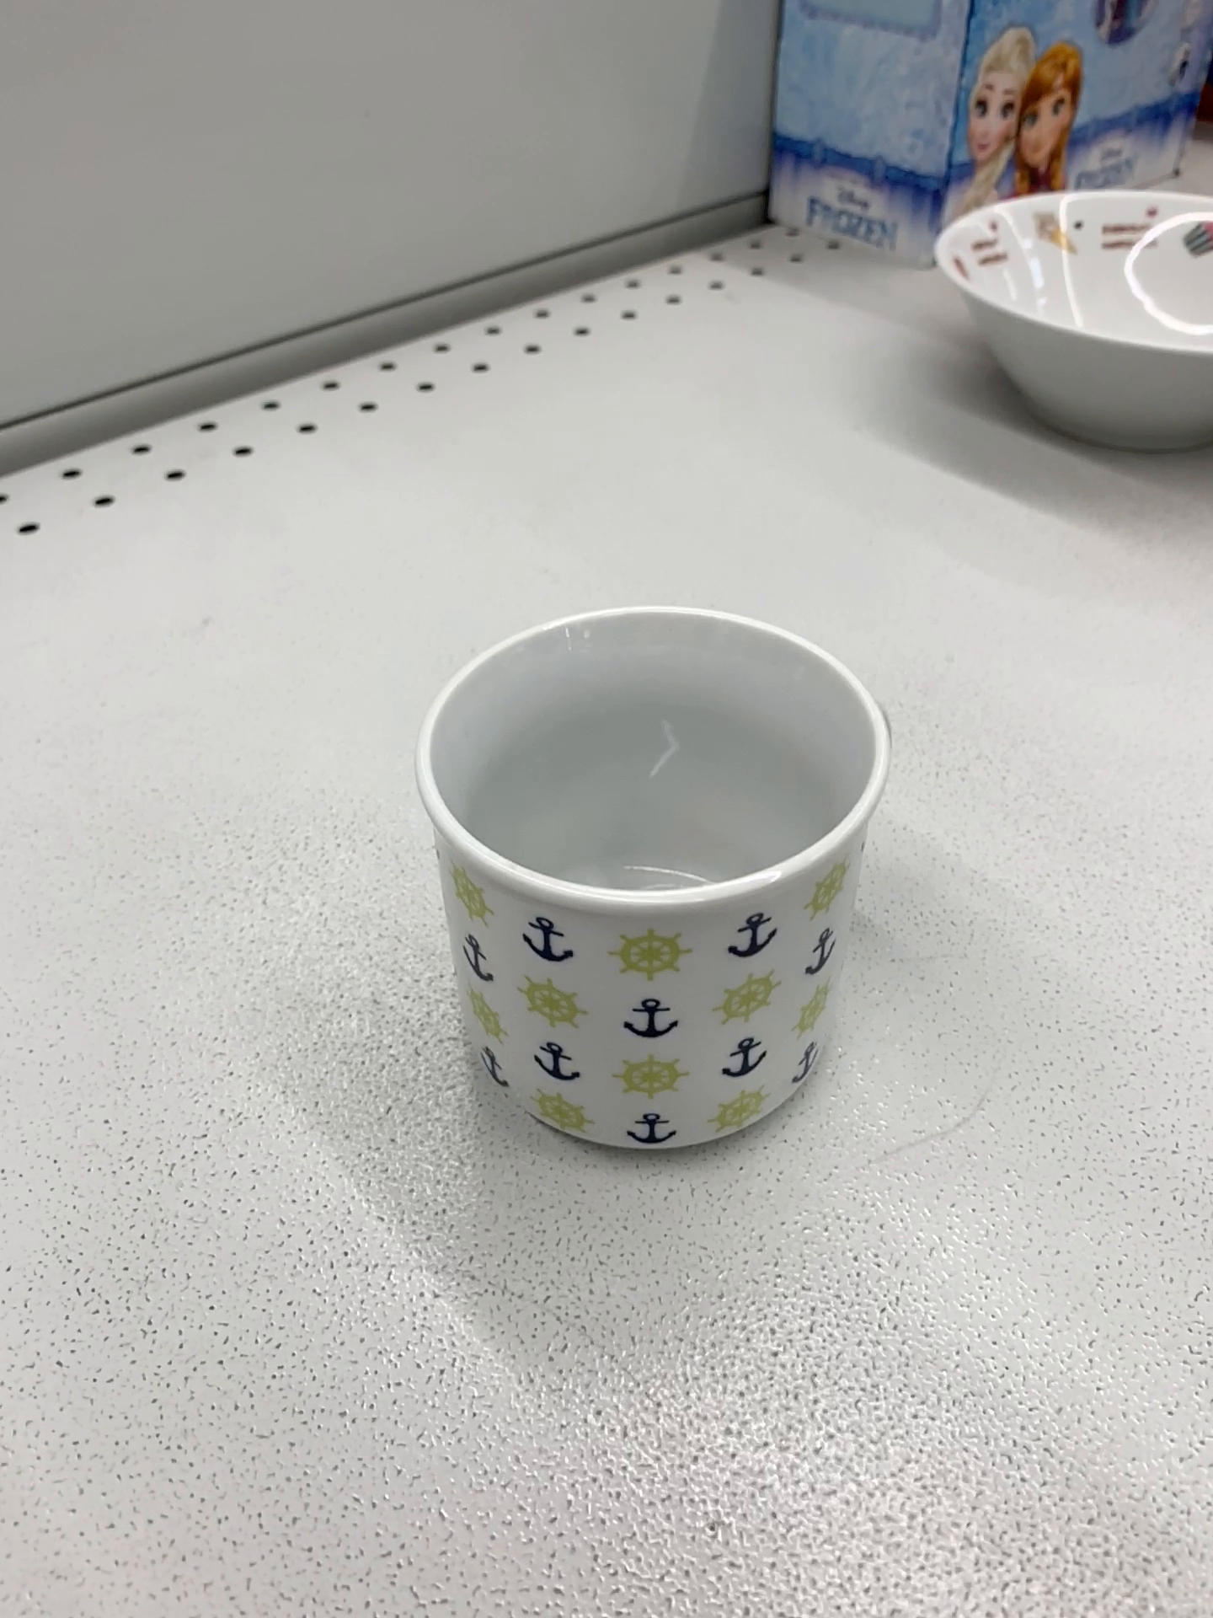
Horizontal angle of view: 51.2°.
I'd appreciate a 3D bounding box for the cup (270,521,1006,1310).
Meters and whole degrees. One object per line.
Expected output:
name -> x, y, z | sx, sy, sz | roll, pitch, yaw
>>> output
cup -> 0.010, 0.012, 0.228 | 0.078, 0.076, 0.096 | 23, 48, 27
